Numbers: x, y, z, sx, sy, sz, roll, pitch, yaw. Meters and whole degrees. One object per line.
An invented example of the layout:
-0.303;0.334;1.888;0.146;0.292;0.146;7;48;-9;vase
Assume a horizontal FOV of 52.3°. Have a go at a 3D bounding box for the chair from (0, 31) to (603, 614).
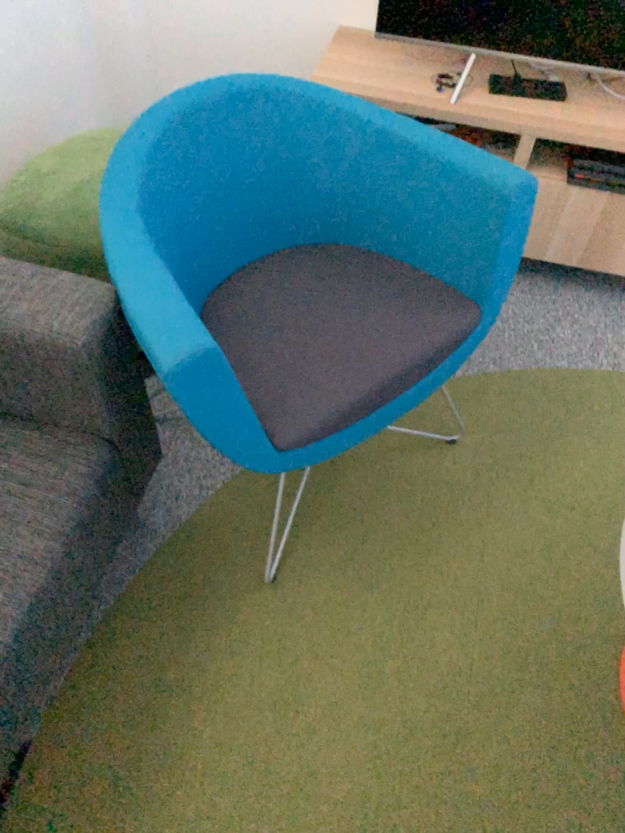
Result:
-0.034;-0.202;1.280;0.762;0.687;0.621;-33;61;-25;chair
